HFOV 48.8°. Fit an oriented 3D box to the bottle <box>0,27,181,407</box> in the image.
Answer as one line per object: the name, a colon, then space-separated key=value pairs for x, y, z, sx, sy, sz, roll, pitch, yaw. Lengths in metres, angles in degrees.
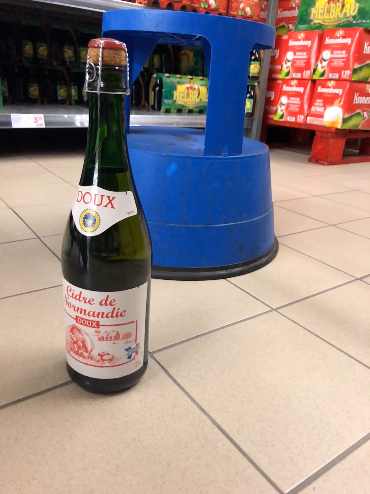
bottle: x=-0.078 y=-0.022 z=0.356 sx=0.100 sy=0.289 sz=0.091 roll=14 pitch=23 yaw=25
